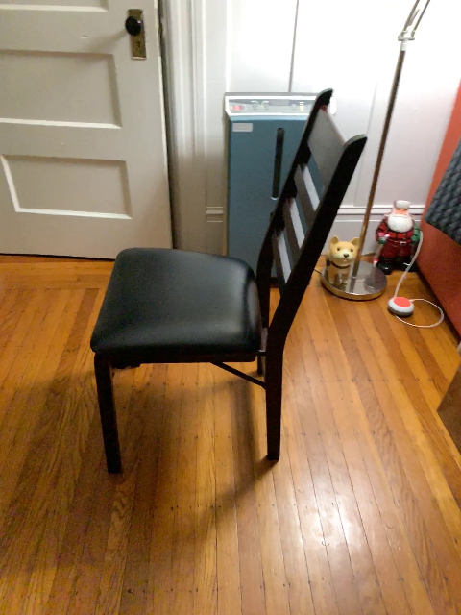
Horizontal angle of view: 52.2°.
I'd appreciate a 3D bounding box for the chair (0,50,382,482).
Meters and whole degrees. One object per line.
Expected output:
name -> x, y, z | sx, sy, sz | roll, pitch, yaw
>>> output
chair -> -0.087, -0.073, 1.105 | 0.550, 0.865, 0.493 | -1, 37, -4
